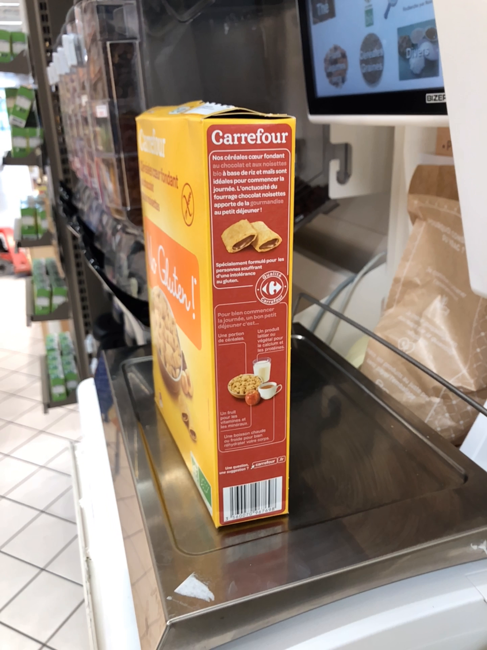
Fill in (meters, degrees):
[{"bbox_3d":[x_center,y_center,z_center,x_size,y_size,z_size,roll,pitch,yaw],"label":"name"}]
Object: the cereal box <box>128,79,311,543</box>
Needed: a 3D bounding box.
[{"bbox_3d":[-0.029,-0.026,0.394,0.060,0.269,0.201,-7,22,-18],"label":"cereal box"}]
